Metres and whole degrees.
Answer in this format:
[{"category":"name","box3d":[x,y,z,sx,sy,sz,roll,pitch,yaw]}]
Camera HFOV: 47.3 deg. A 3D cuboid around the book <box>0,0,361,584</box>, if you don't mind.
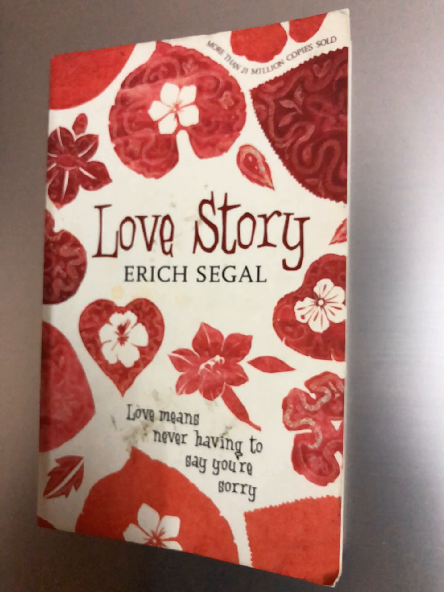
[{"category":"book","box3d":[-0.016,-0.009,0.177,0.120,0.030,0.180,1,88,16]}]
